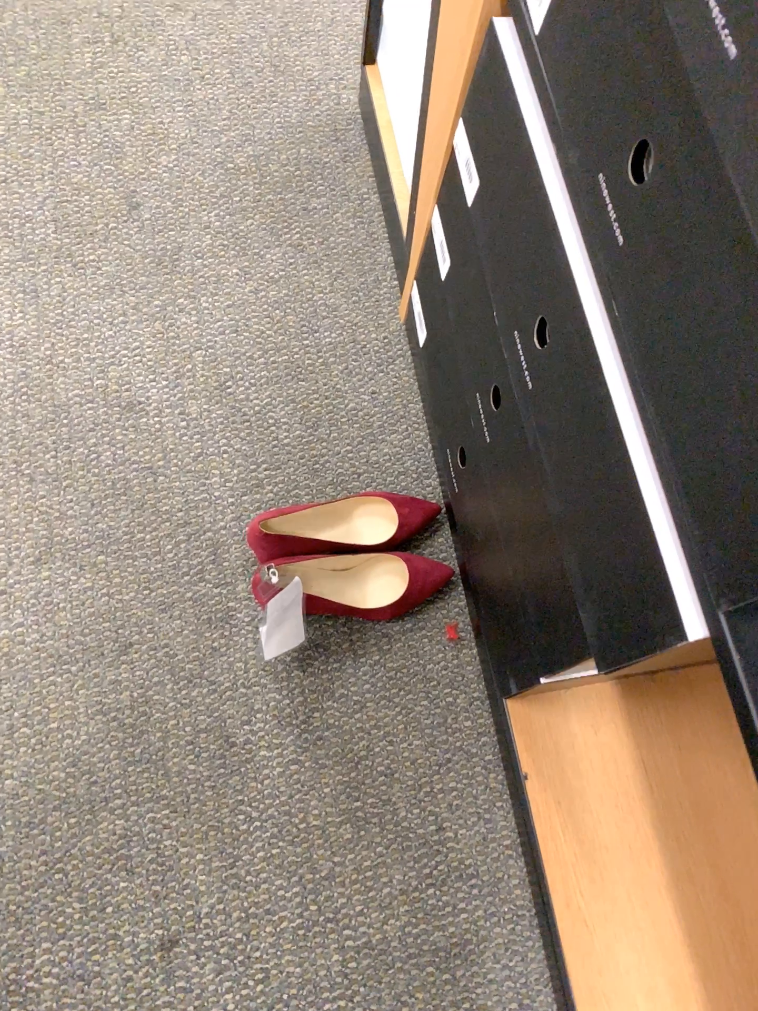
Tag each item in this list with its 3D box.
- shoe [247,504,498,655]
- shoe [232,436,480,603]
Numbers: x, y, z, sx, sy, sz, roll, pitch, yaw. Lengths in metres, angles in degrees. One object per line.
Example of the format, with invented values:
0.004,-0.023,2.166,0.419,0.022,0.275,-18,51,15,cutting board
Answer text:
-0.017,0.092,0.895,0.250,0.200,0.090,-8,71,-10,shoe
-0.034,0.023,0.913,0.250,0.200,0.090,-12,72,-11,shoe
